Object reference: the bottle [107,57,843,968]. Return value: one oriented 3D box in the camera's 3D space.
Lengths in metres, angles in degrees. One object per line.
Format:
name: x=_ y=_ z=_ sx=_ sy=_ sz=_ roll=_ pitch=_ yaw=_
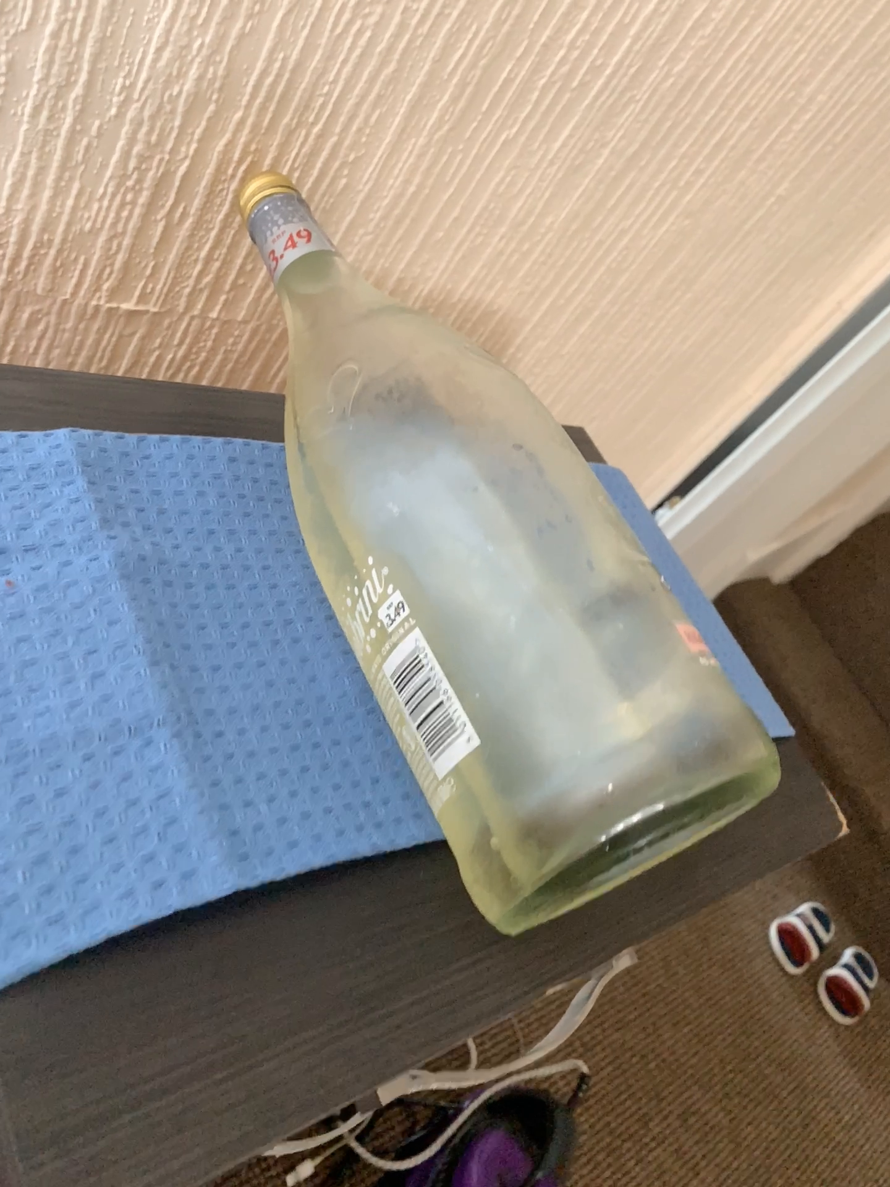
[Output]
bottle: x=-0.020 y=-0.049 z=0.348 sx=0.111 sy=0.119 sz=0.321 roll=-17 pitch=65 yaw=-27
